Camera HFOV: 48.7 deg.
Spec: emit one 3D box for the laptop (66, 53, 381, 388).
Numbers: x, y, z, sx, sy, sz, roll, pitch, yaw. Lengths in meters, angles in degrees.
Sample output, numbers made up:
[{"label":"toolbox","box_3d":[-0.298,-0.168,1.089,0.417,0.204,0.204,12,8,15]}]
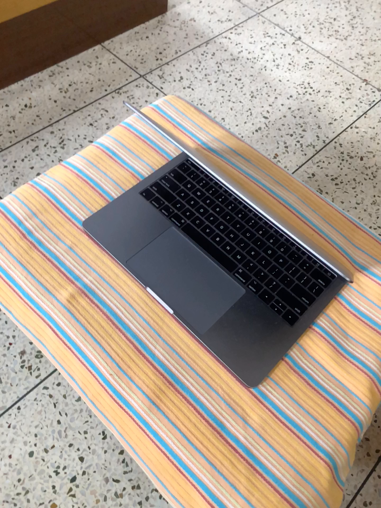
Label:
[{"label":"laptop","box_3d":[0.043,-0.046,0.485,0.295,0.160,0.204,42,64,17]}]
